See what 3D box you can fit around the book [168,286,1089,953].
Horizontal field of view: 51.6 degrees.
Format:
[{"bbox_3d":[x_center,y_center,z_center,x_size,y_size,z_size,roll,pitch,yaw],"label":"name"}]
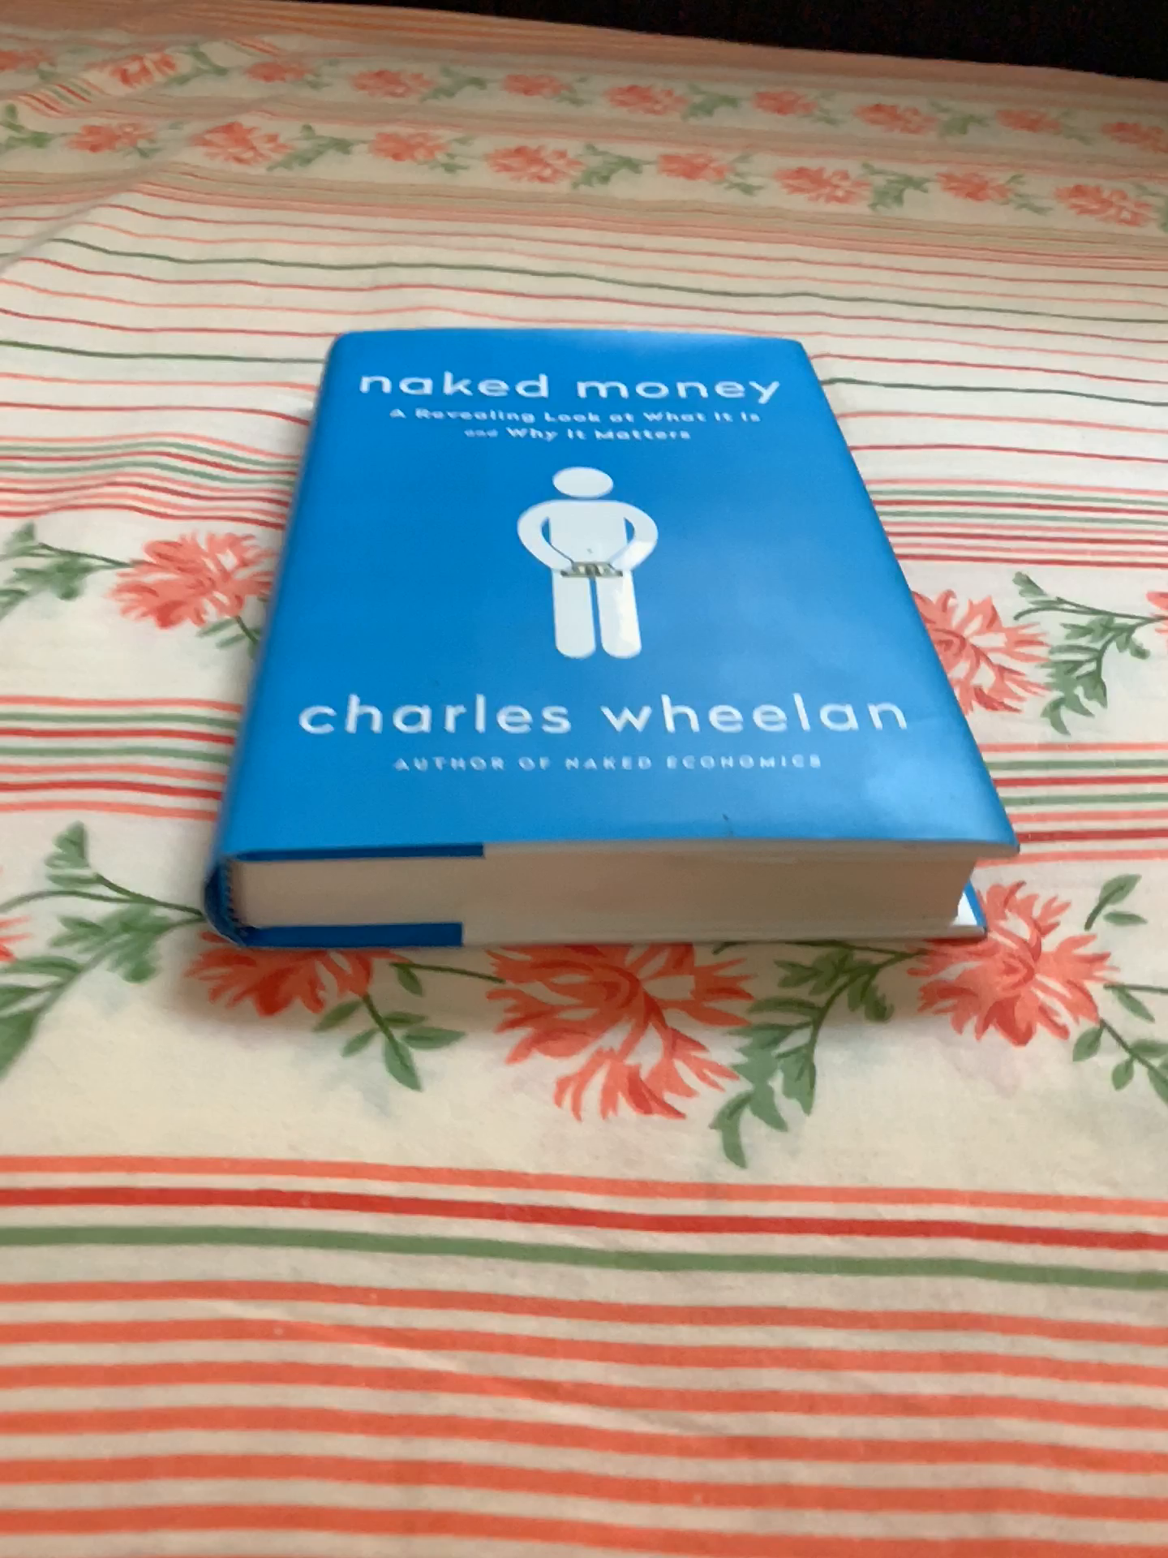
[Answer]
[{"bbox_3d":[0.003,-0.064,0.328,0.170,0.040,0.252,1,42,-5],"label":"book"}]
